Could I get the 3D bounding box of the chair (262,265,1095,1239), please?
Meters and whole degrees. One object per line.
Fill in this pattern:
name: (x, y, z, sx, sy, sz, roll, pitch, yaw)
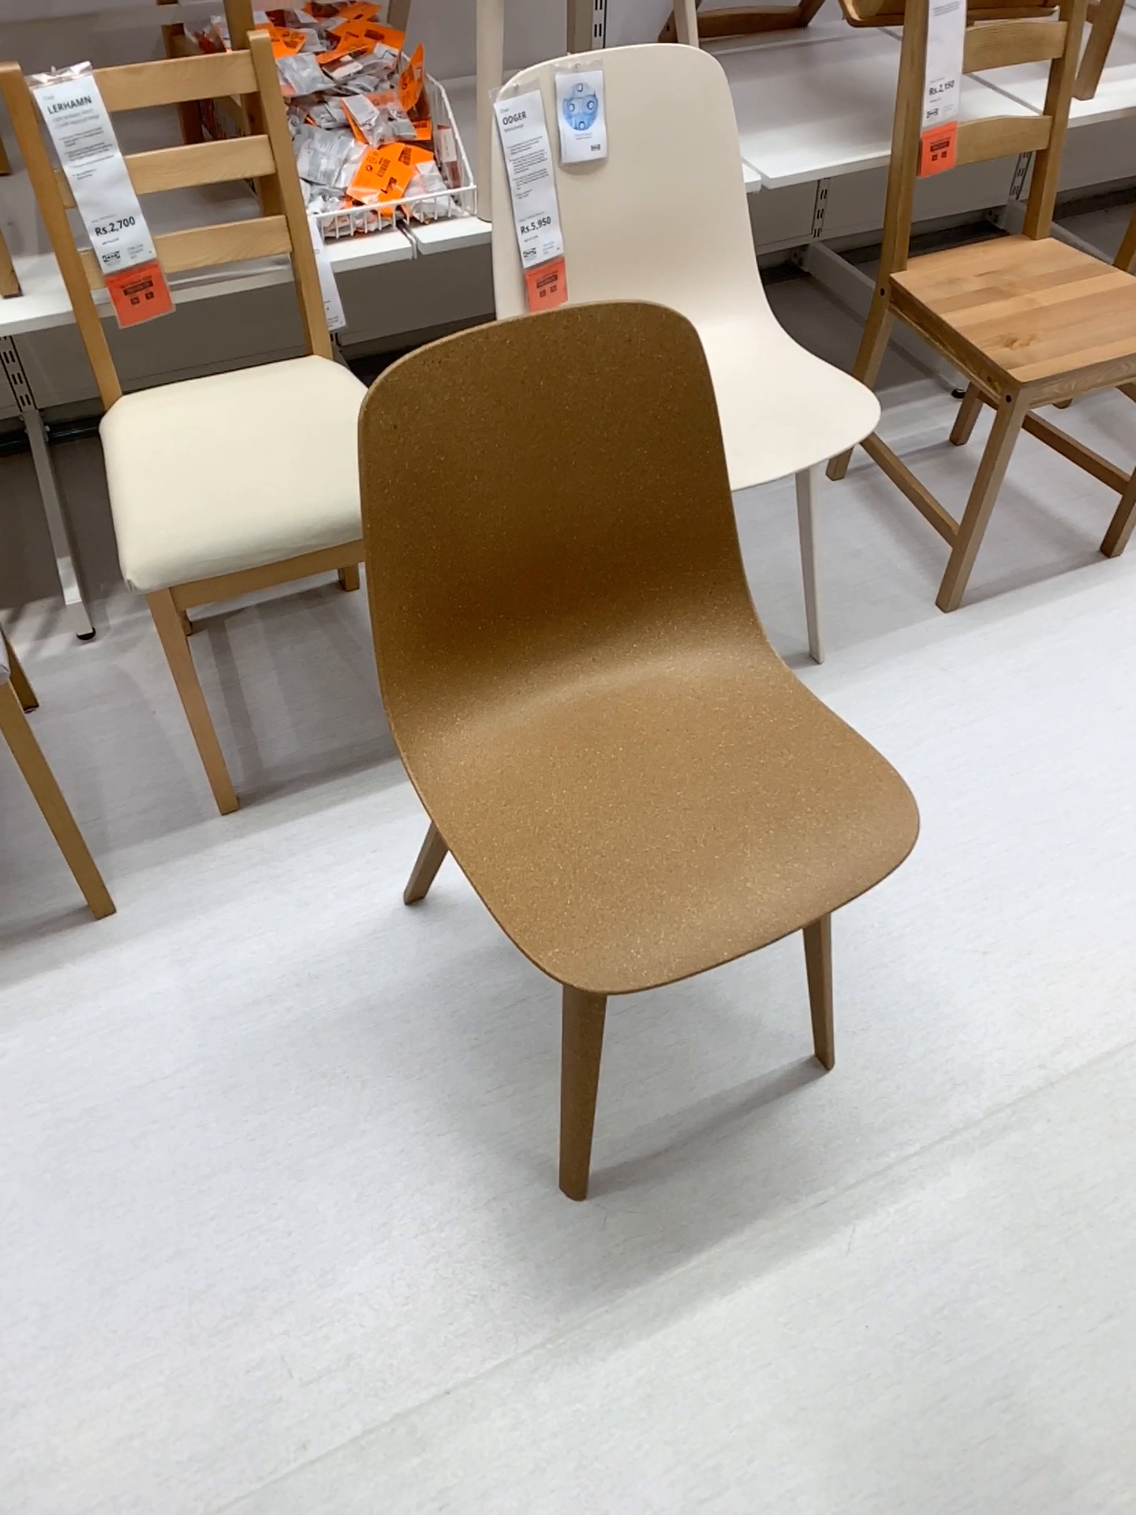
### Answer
chair: (0.049, 0.010, 1.221, 0.460, 0.757, 0.562, -20, 51, -19)
